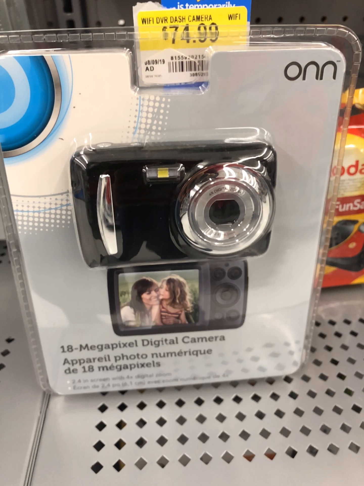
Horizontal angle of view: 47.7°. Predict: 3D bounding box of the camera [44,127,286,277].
[{"bbox_3d":[-0.007,-0.020,0.197,0.100,0.060,0.030,-3,29,-3],"label":"camera"}]
